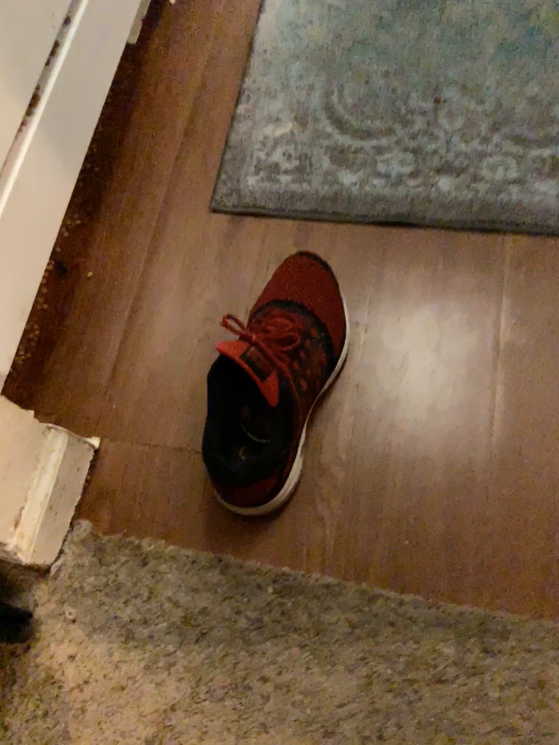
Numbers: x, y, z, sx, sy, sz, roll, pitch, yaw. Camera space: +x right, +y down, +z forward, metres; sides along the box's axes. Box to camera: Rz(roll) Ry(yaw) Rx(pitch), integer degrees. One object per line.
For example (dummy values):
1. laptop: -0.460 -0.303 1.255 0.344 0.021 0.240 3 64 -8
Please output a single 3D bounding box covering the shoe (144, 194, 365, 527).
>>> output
1. shoe: -0.009 -0.013 0.650 0.130 0.140 0.300 12 70 12
